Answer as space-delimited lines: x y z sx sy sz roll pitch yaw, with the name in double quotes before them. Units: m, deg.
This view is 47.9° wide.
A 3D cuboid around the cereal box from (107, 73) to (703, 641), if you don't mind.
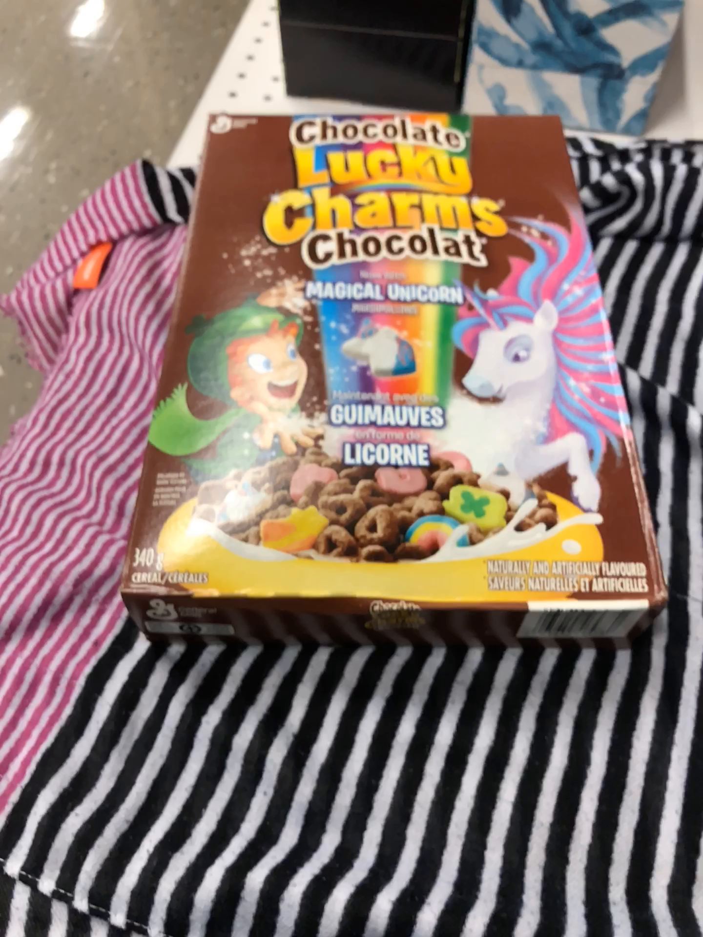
"cereal box" 0.022 -0.070 0.372 0.210 0.060 0.291 0 59 0
